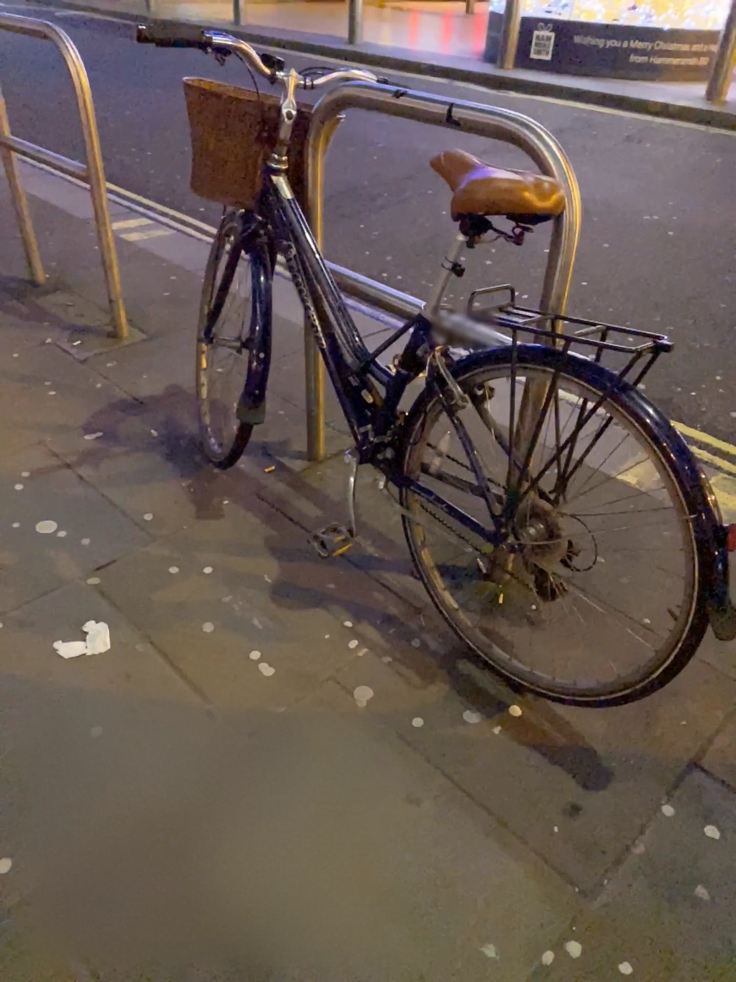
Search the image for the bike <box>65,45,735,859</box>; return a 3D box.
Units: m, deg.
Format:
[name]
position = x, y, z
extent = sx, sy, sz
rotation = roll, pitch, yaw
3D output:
[bike]
position = 0.052, -0.316, 1.674
extent = 0.661, 1.063, 1.715
rotation = -23, 42, -31
